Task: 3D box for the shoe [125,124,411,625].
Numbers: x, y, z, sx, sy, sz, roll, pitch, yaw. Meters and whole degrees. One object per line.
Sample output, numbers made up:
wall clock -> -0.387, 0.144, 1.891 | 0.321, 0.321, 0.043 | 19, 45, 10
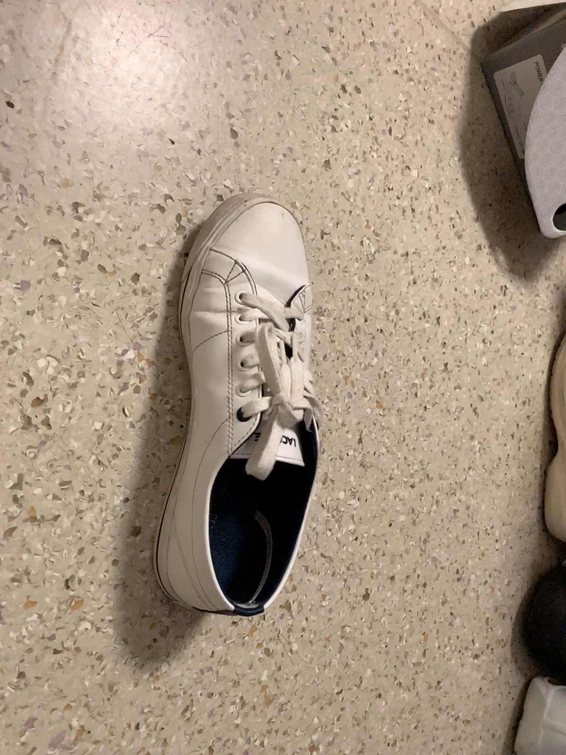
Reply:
shoe -> -0.006, 0.002, 0.349 | 0.100, 0.090, 0.250 | 15, 80, -37
